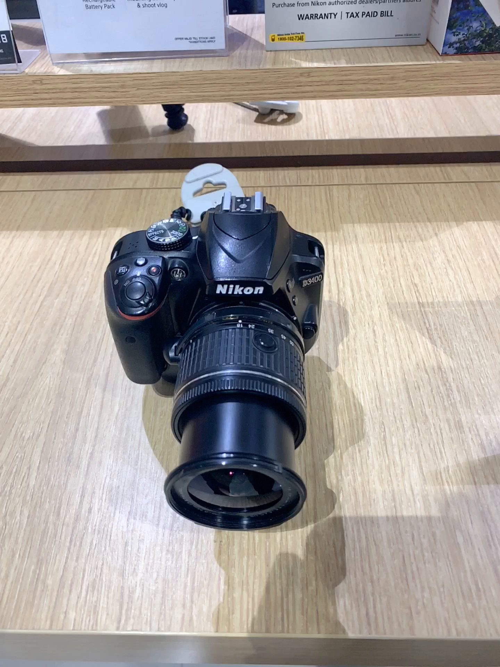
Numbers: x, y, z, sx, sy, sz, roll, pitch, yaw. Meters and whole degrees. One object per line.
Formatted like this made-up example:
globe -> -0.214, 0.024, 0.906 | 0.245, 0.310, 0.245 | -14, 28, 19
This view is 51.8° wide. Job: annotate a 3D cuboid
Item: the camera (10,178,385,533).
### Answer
camera -> -0.015, 0.006, 0.246 | 0.120, 0.094, 0.140 | -1, 46, 2
